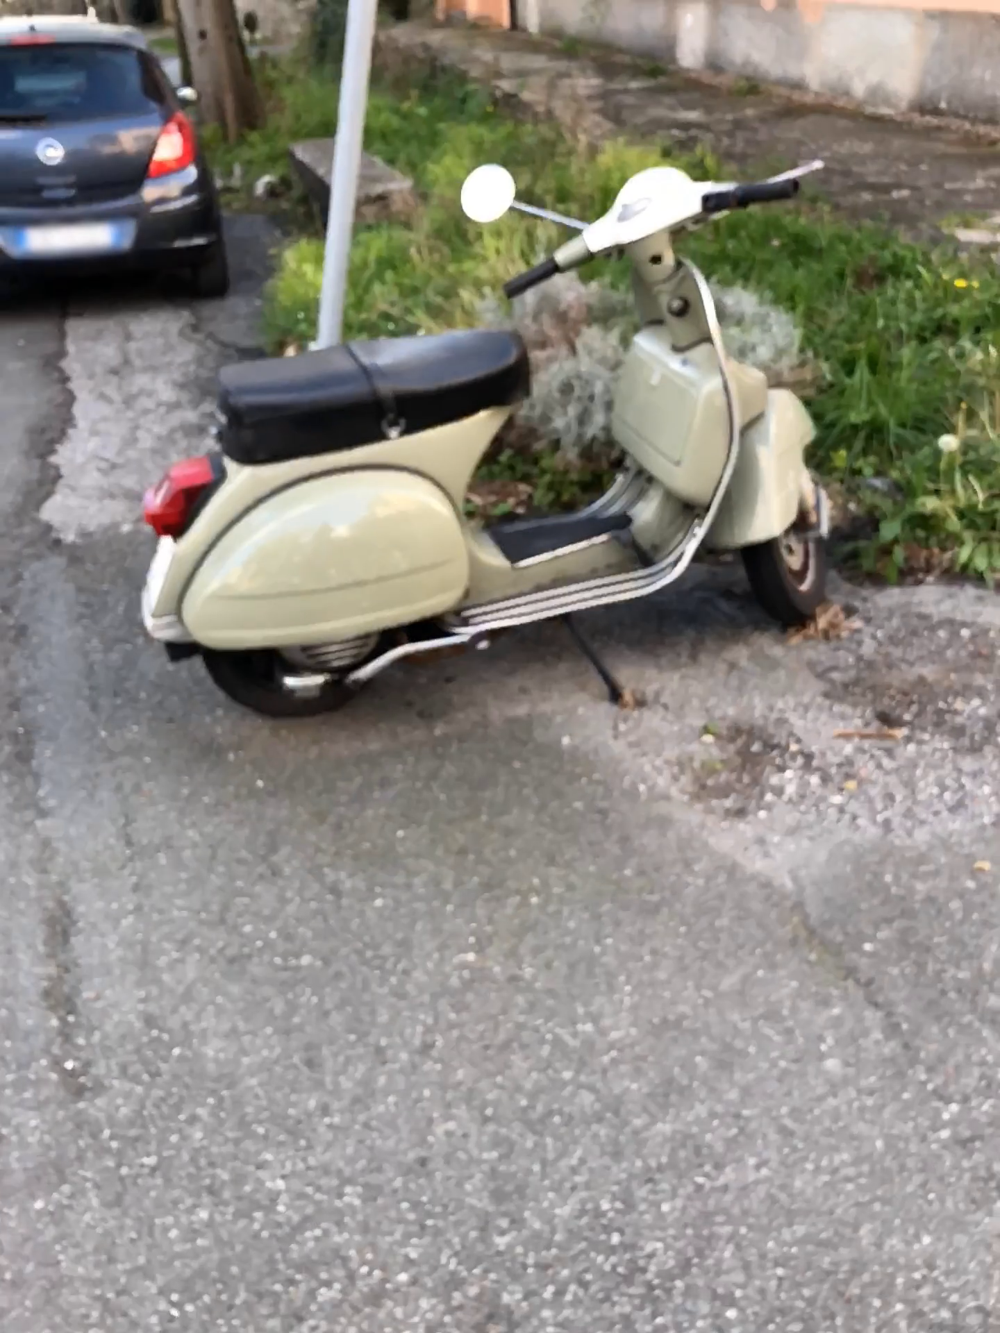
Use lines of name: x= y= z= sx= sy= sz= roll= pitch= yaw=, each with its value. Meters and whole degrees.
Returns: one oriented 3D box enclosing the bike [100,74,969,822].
bike: x=0.054 y=-0.492 z=2.287 sx=1.442 sy=1.028 sz=0.624 roll=-16 pitch=36 yaw=-14
